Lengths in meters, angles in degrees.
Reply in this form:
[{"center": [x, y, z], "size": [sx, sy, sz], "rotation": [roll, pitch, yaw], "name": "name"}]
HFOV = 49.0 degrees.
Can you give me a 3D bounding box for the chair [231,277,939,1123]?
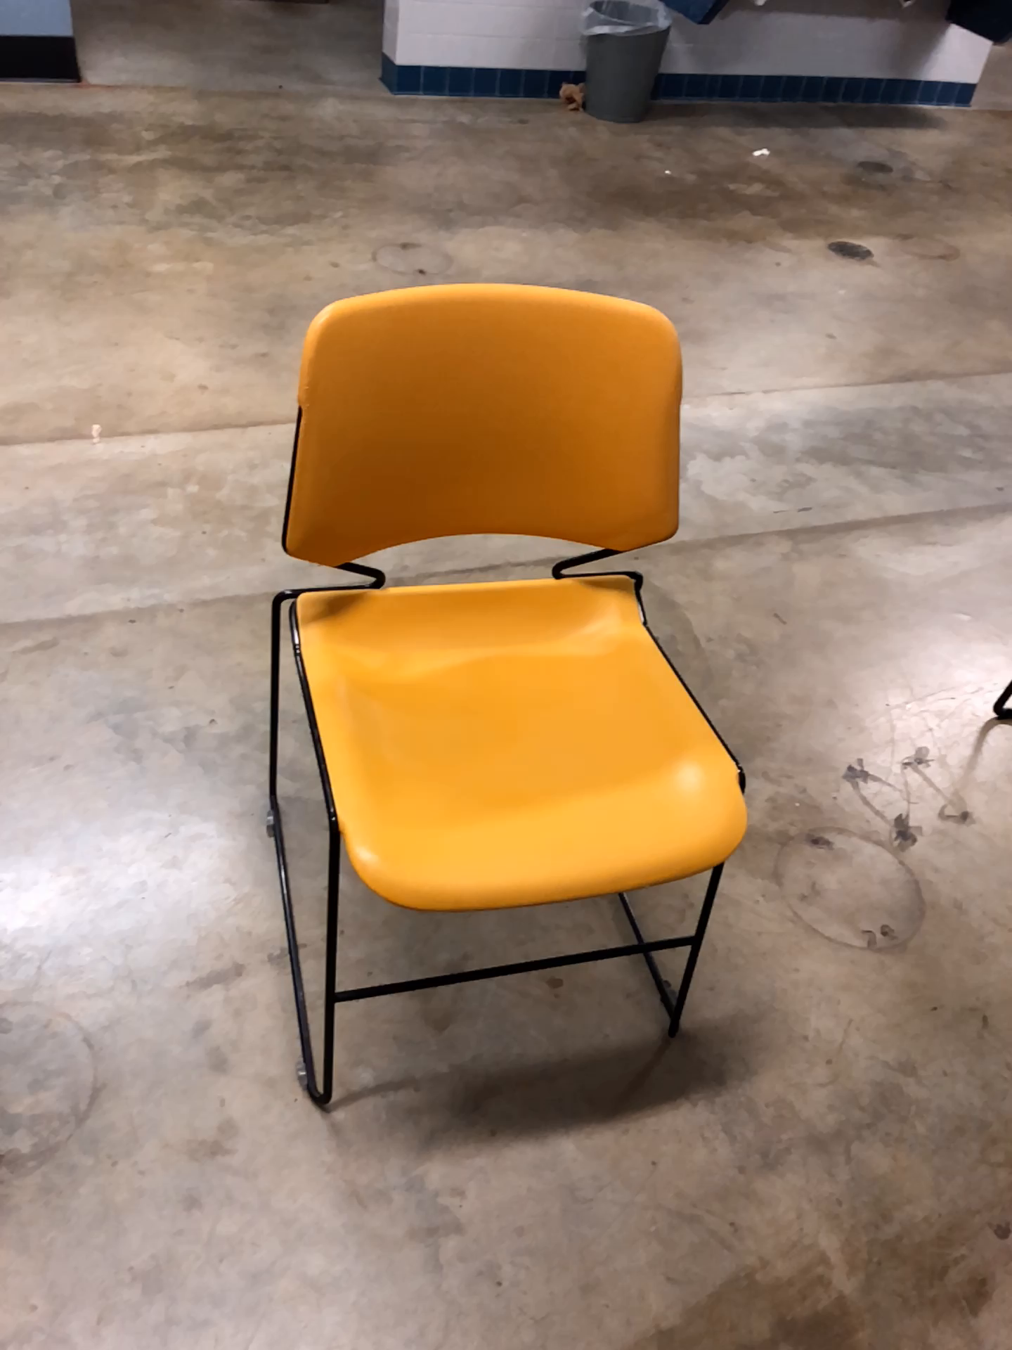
[{"center": [-0.008, 0.033, 1.304], "size": [0.529, 0.796, 0.526], "rotation": [-6, 44, -16], "name": "chair"}]
